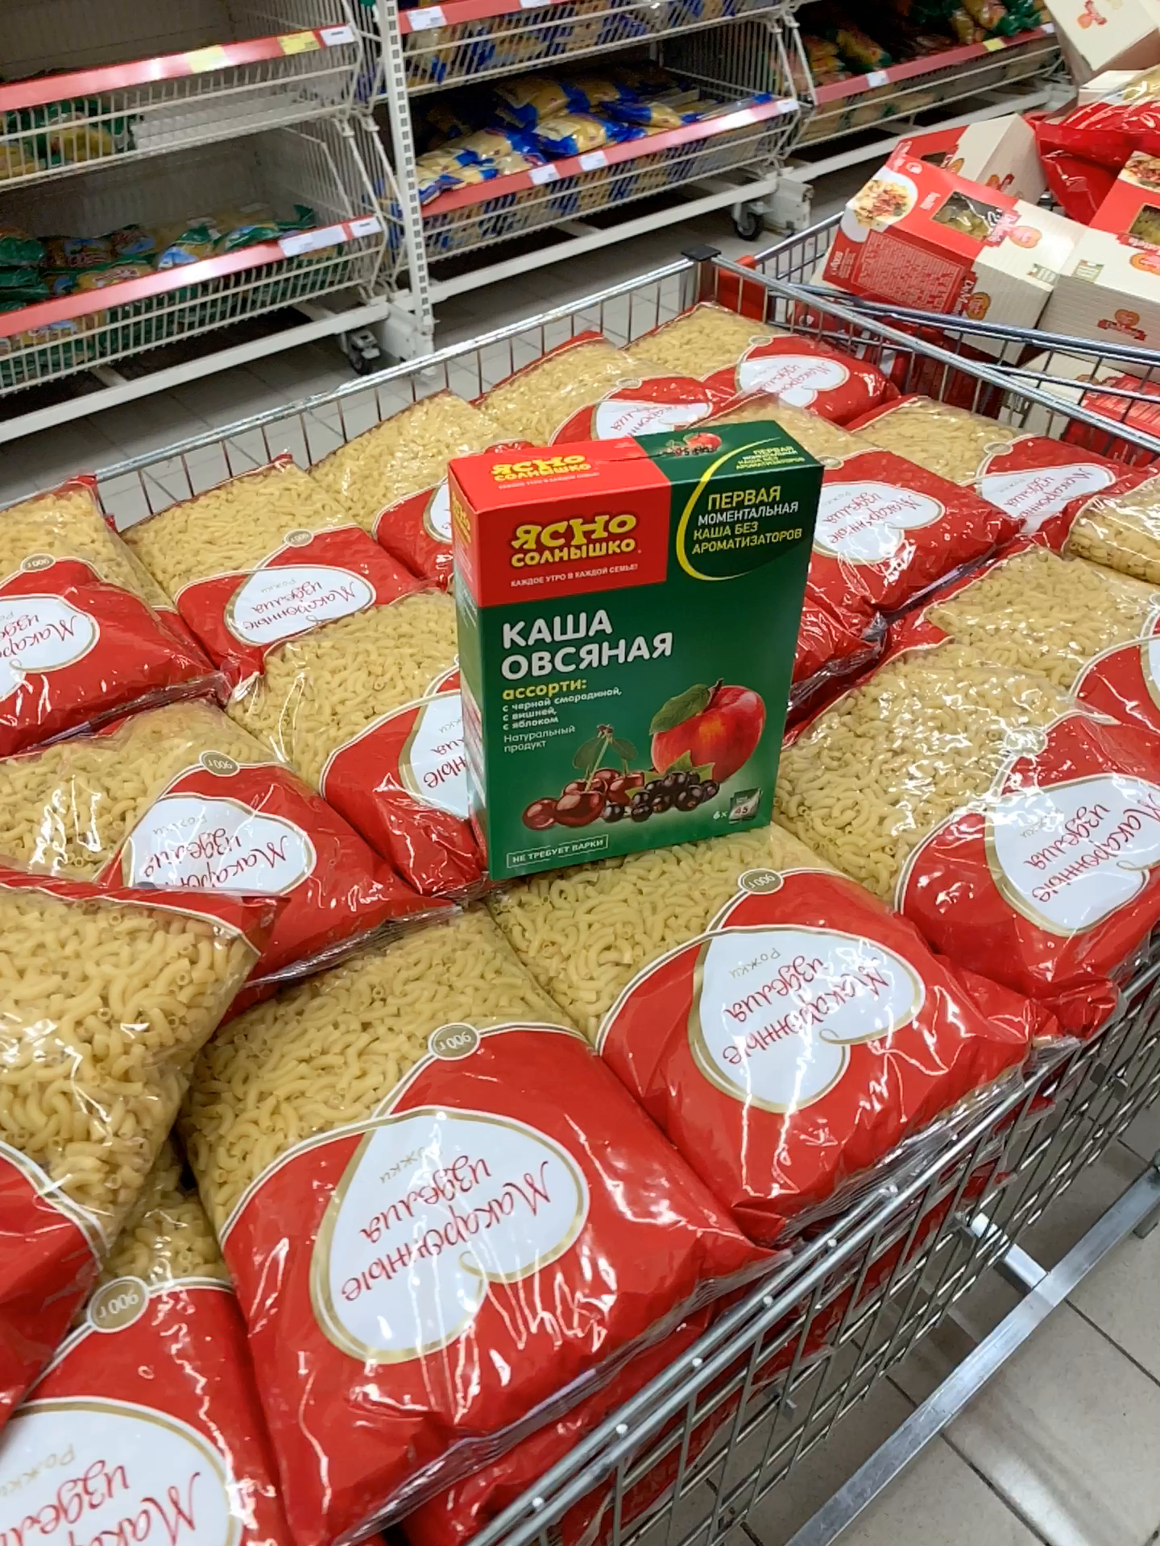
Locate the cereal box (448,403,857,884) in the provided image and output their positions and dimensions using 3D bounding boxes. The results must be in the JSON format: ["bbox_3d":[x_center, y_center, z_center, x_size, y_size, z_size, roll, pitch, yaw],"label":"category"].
[{"bbox_3d":[0.029,-0.057,0.555,0.160,0.198,0.060,-10,39,-14],"label":"cereal box"}]
